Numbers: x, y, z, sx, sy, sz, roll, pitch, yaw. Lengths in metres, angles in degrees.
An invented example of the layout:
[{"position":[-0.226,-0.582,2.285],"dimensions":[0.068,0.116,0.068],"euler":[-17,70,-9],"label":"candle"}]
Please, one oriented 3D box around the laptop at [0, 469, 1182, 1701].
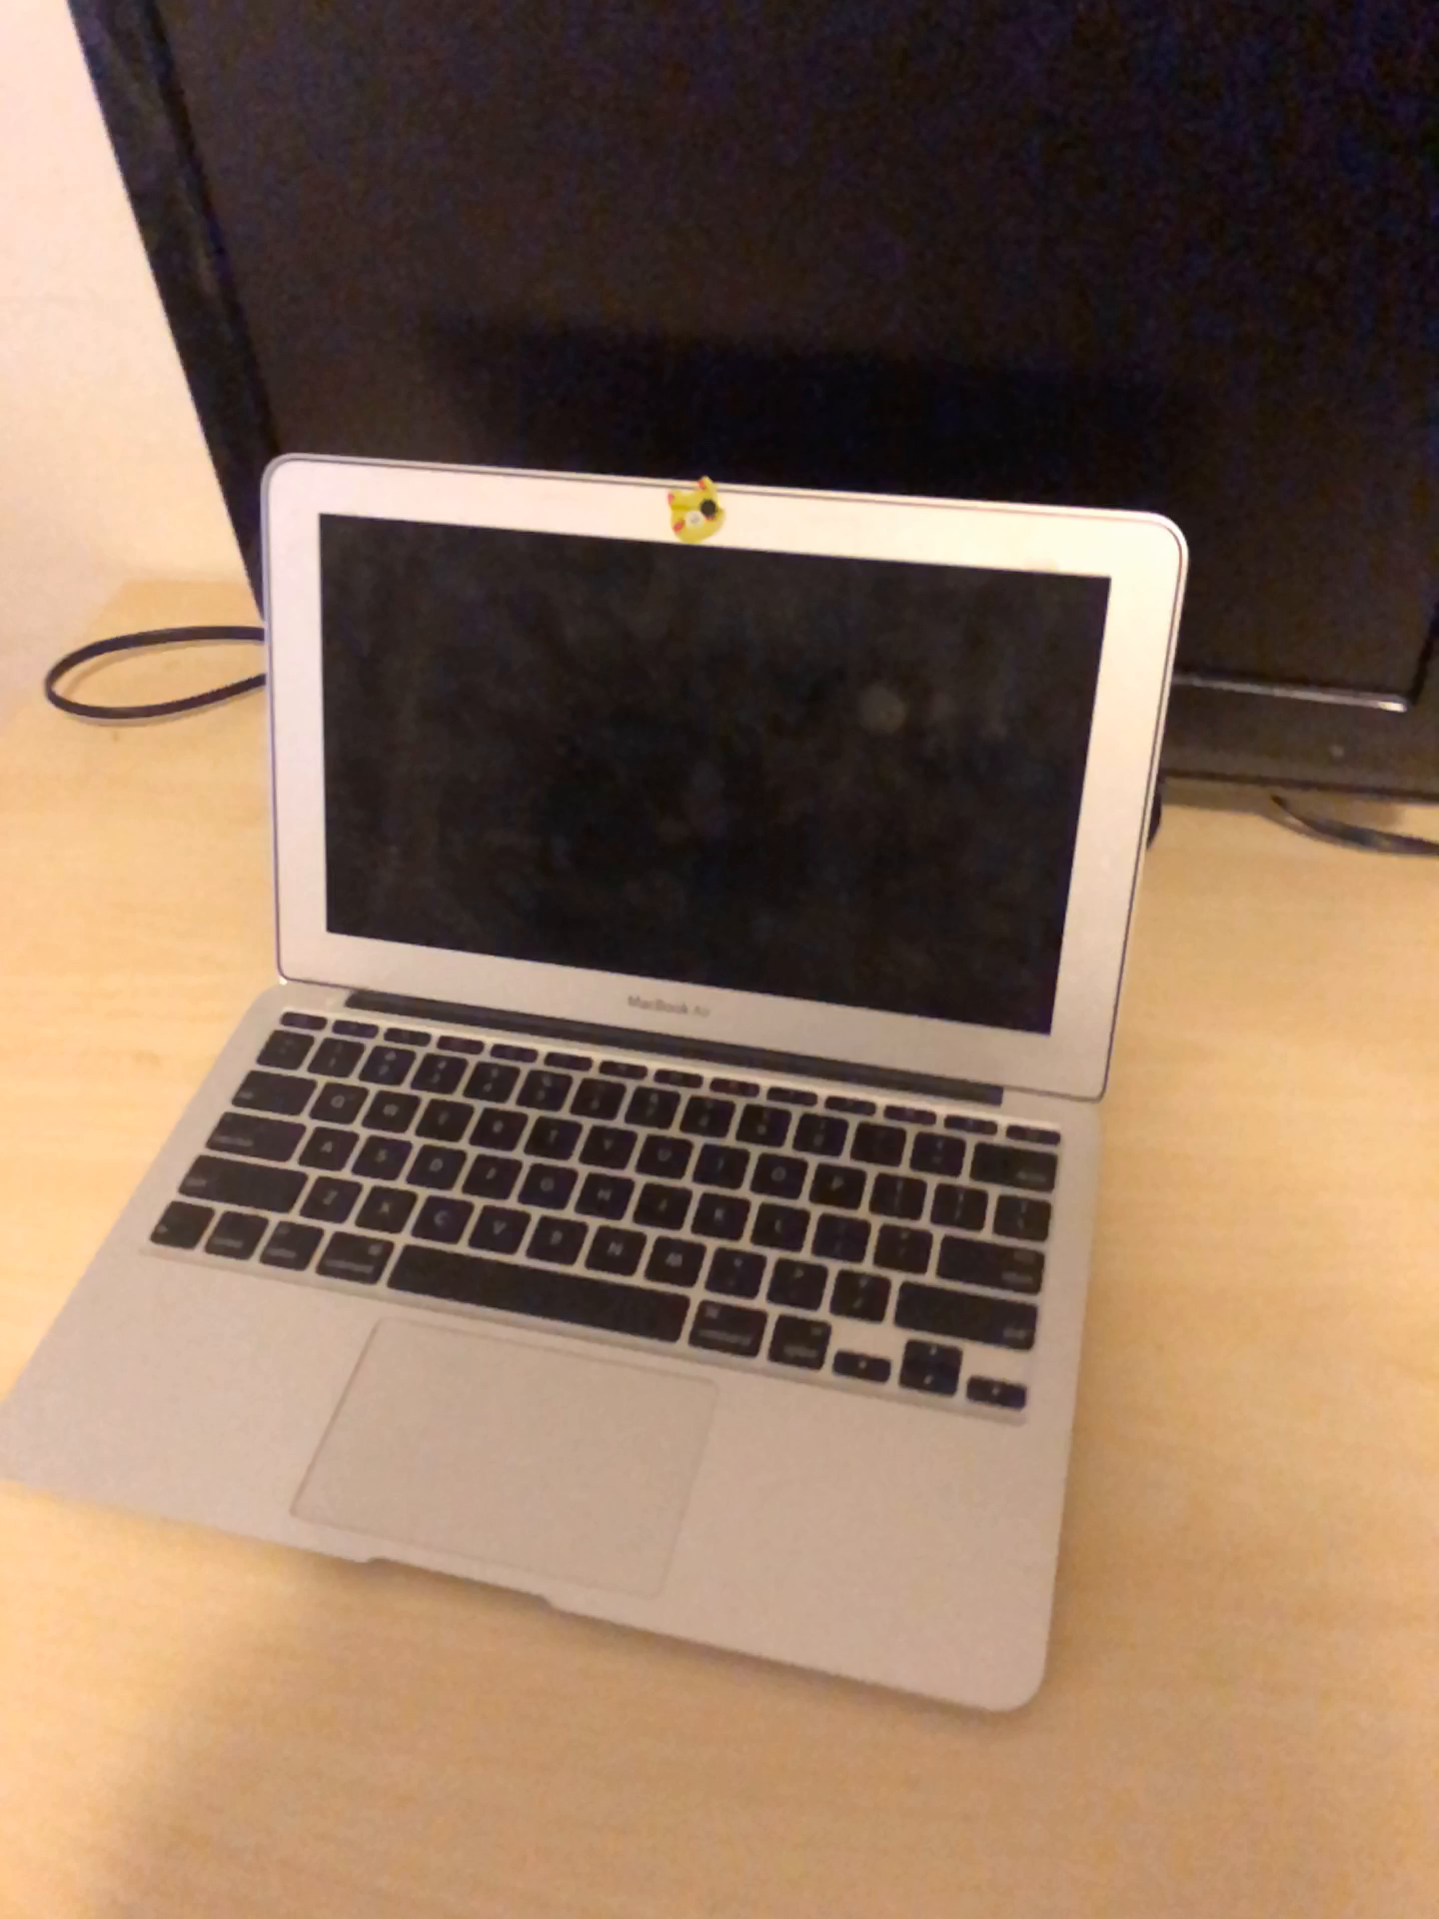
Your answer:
[{"position":[-0.037,0.009,0.450],"dimensions":[0.290,0.160,0.276],"euler":[8,46,13],"label":"laptop"}]
